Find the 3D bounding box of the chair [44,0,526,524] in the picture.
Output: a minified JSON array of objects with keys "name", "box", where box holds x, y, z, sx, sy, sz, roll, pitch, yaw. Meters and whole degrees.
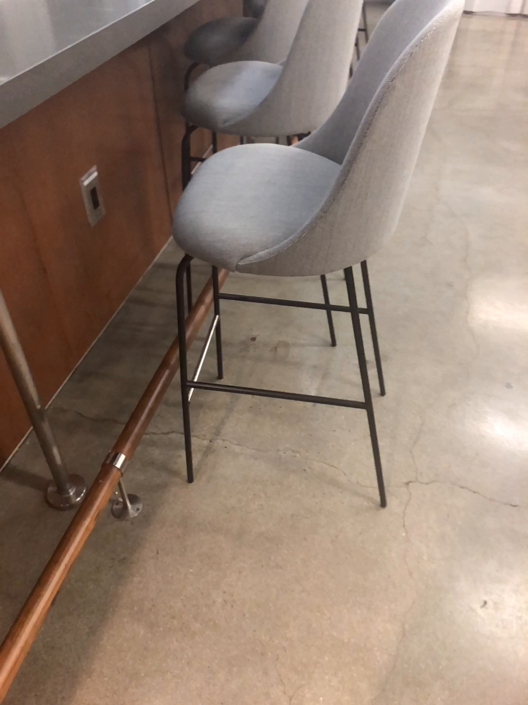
[{"name":"chair","box":[0.059,-0.186,1.301,0.630,1.090,0.515,6,42,7]}]
